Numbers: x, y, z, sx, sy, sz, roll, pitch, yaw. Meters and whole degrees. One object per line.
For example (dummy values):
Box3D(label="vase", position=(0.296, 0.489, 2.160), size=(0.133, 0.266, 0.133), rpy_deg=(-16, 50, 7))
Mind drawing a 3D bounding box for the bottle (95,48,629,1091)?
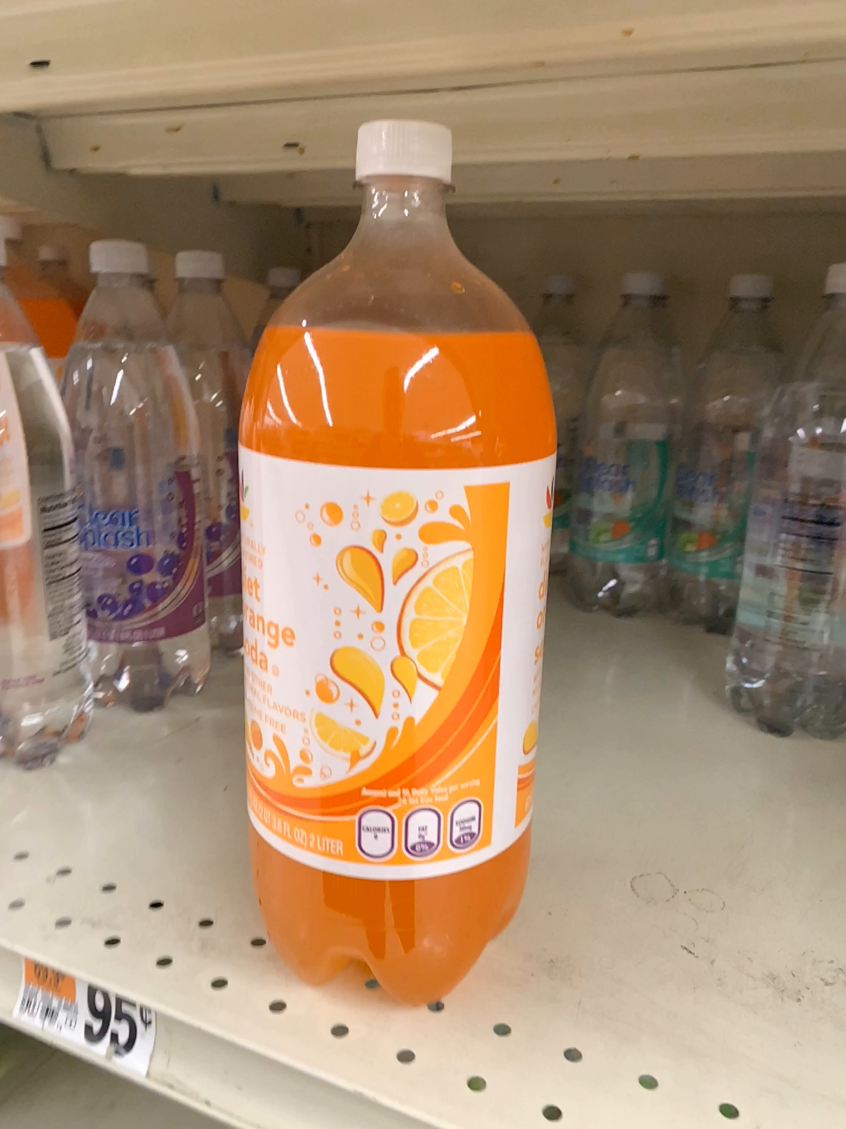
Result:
Box3D(label="bottle", position=(-0.017, 0.002, 0.306), size=(0.120, 0.289, 0.110), rpy_deg=(1, 17, 0))
